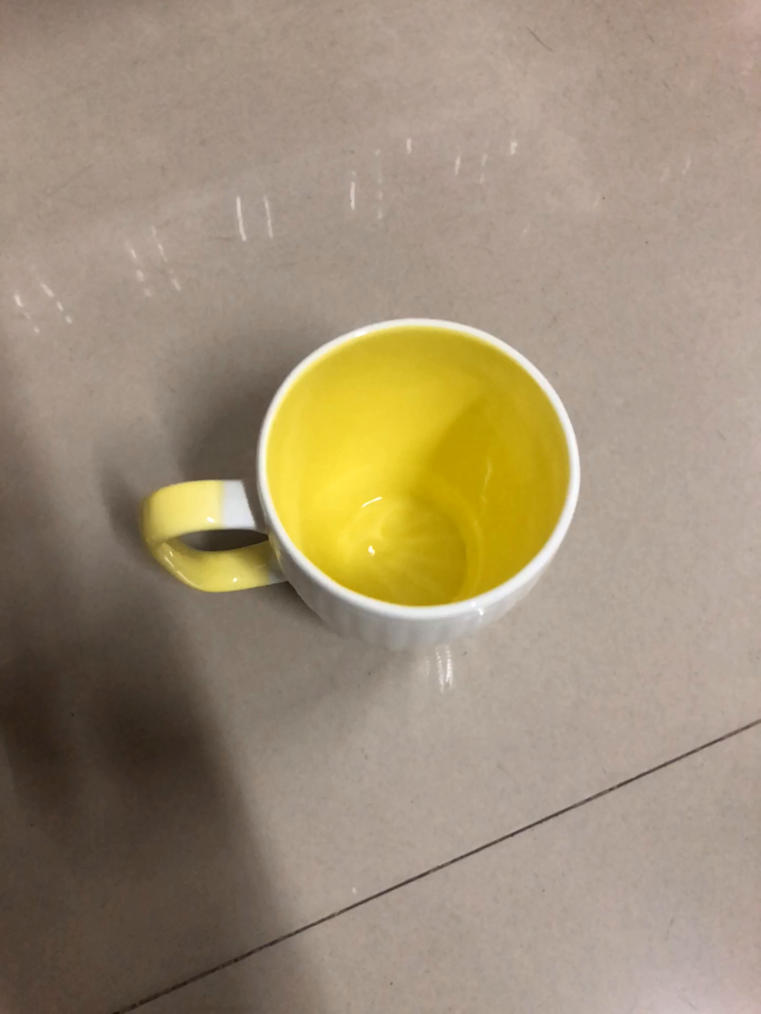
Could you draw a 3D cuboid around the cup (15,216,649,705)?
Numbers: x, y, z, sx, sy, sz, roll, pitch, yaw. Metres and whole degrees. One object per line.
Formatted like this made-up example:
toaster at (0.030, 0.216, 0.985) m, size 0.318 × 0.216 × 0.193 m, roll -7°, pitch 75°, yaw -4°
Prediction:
cup at (-0.014, -0.006, 0.213) m, size 0.120 × 0.080 × 0.080 m, roll -9°, pitch 71°, yaw -4°
